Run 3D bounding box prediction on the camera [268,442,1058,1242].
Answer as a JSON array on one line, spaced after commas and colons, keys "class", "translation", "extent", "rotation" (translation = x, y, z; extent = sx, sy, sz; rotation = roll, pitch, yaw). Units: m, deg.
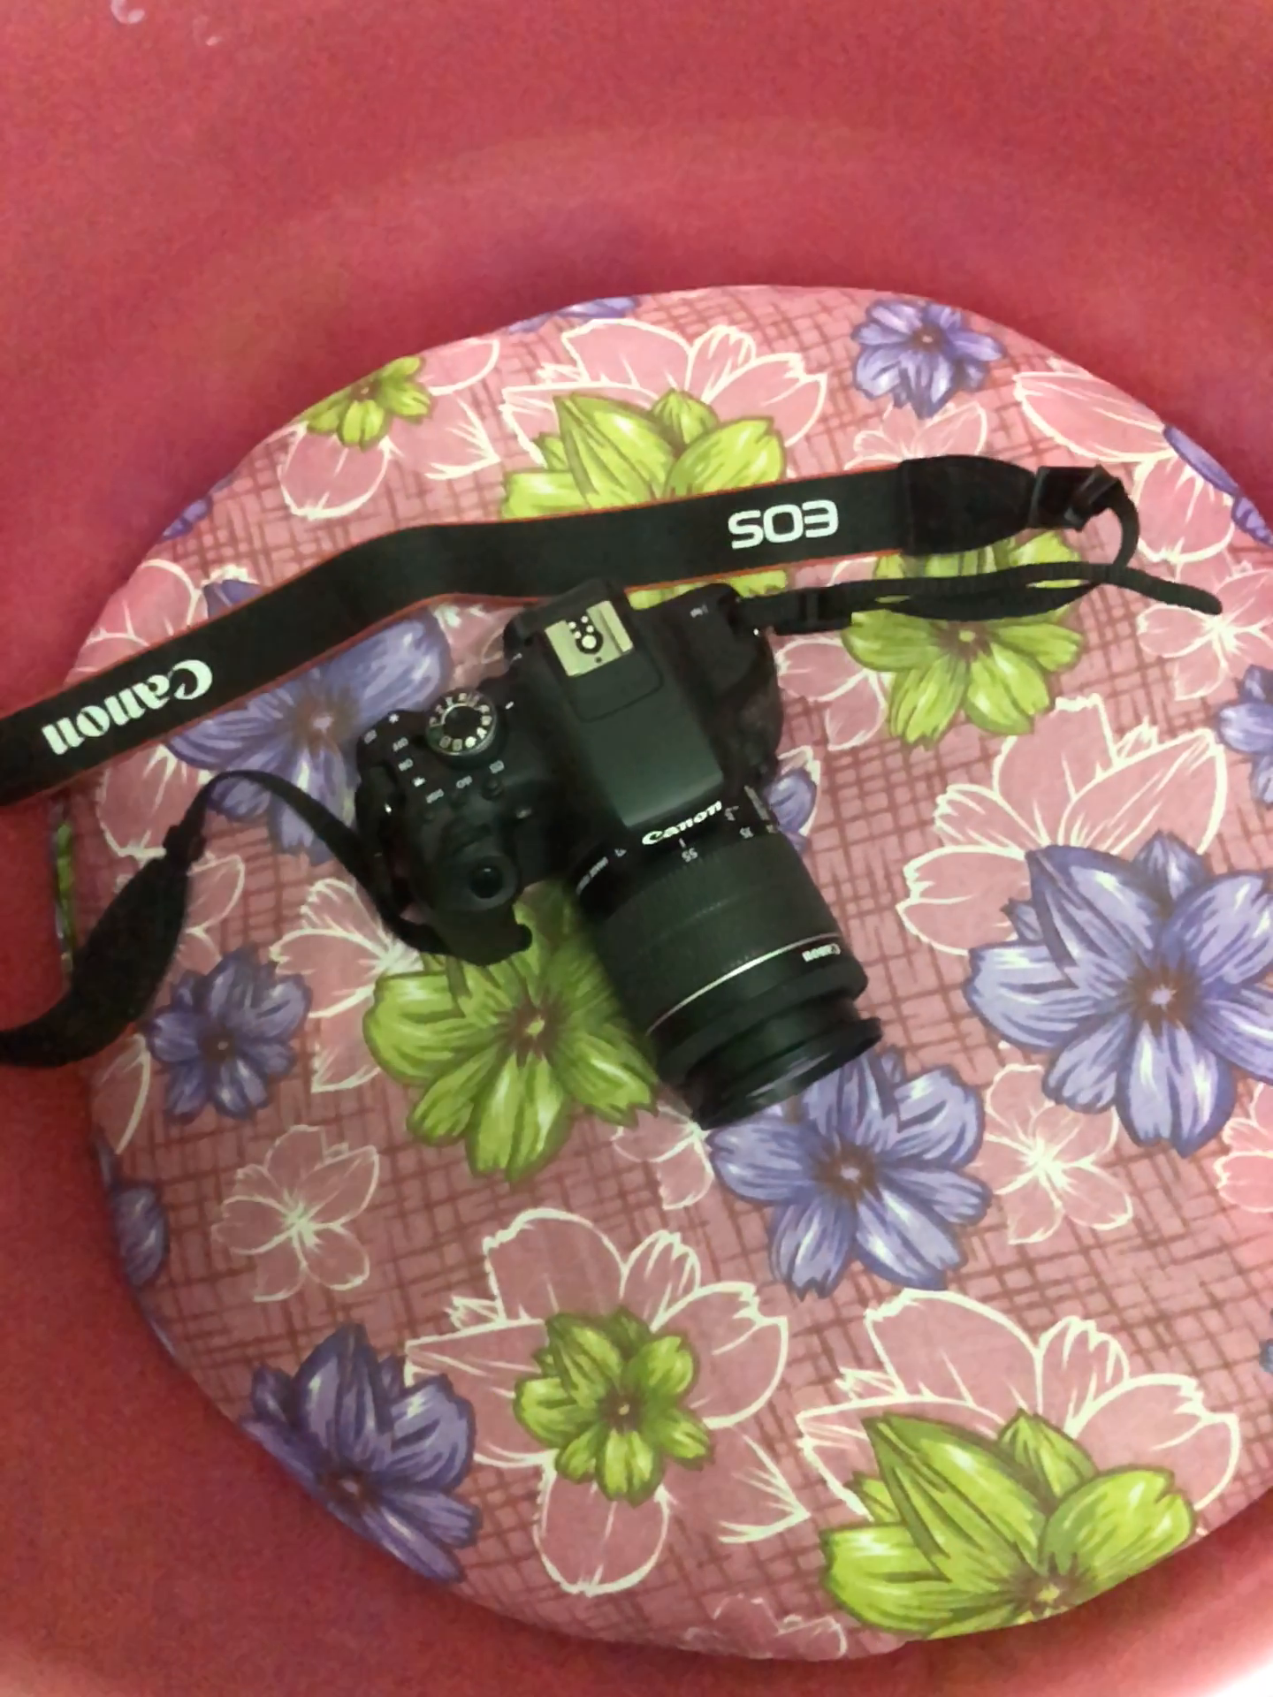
[{"class": "camera", "translation": [0.004, 0.004, 0.396], "extent": [0.140, 0.100, 0.160], "rotation": [-25, 76, -5]}]
